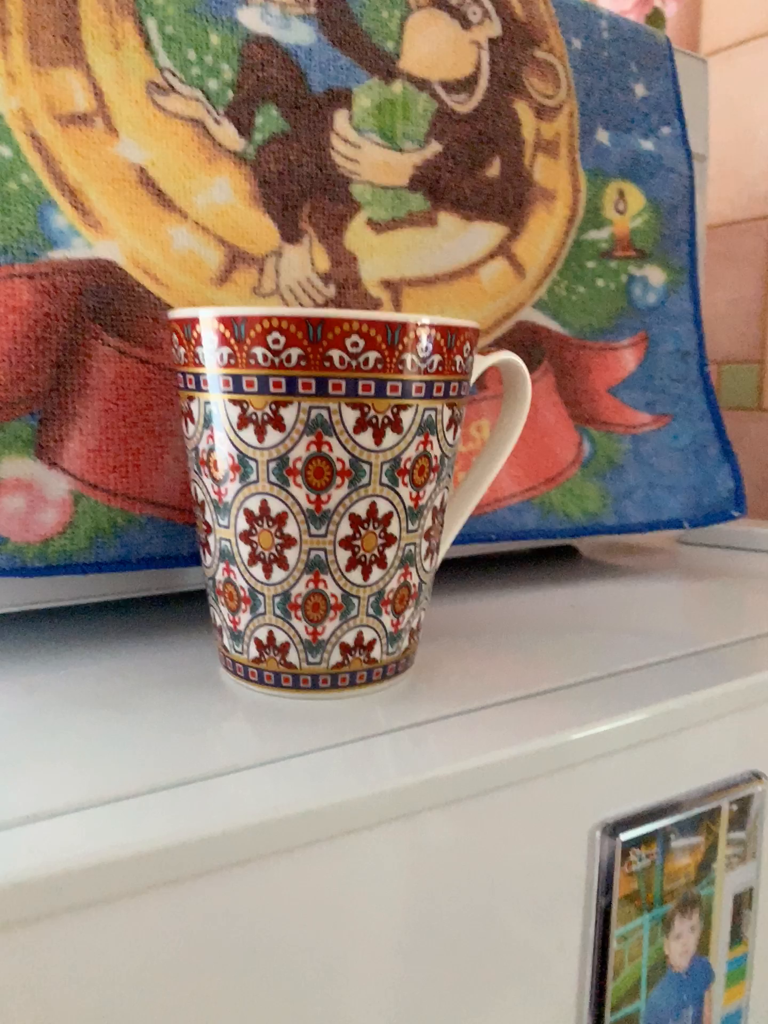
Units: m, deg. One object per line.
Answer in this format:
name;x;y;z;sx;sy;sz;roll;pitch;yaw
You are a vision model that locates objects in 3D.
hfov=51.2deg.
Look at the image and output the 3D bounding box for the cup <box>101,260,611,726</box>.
cup;-0.008;-0.013;0.247;0.125;0.101;0.089;-6;10;-39
